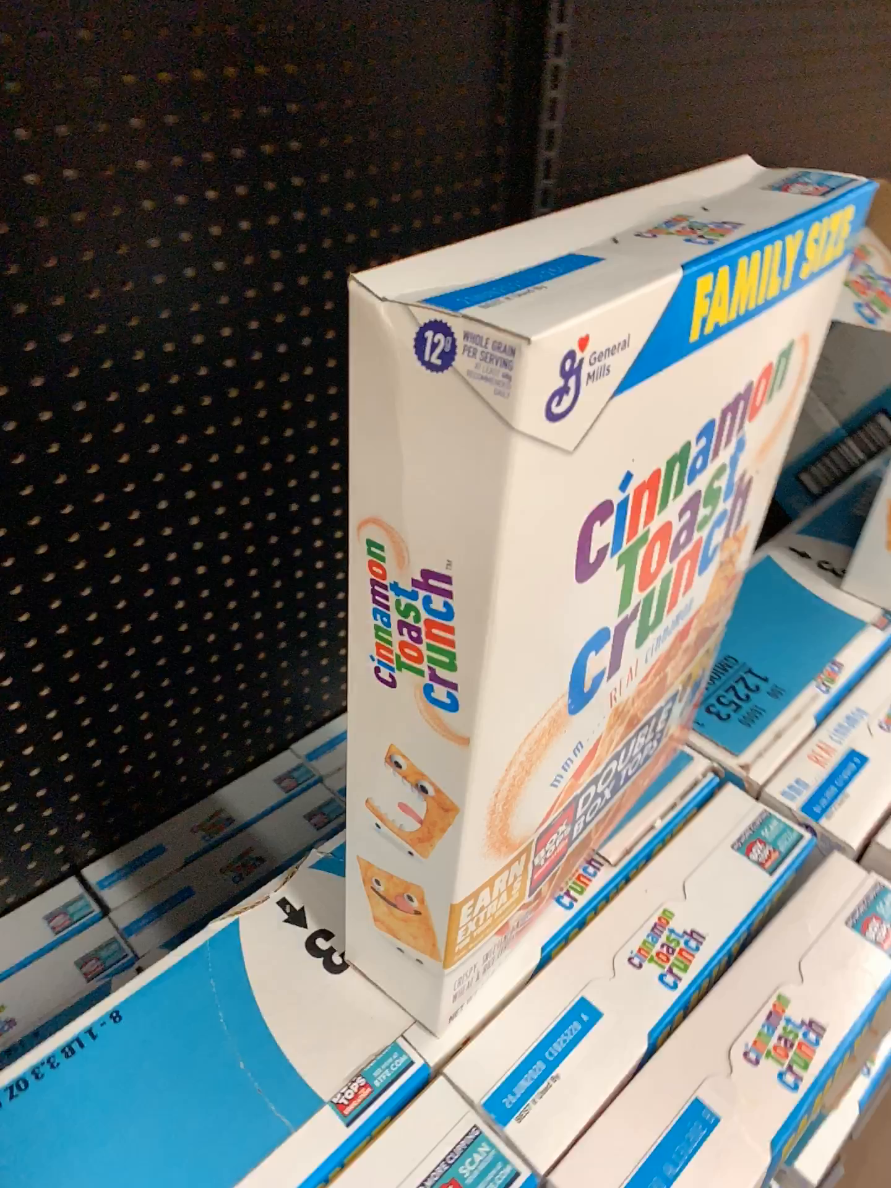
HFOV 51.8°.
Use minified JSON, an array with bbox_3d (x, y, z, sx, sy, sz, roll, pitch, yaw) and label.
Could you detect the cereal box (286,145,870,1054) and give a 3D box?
[{"bbox_3d":[0.053,0.001,0.373,0.060,0.298,0.241,28,43,29],"label":"cereal box"}]
